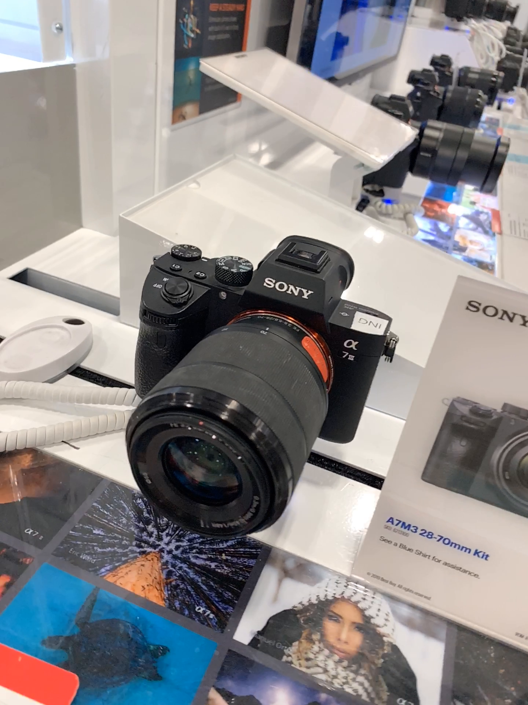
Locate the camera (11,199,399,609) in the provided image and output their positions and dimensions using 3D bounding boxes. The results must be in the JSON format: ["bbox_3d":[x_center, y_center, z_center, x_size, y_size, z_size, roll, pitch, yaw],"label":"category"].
[{"bbox_3d":[-0.015,0.011,0.260,0.119,0.099,0.141,17,36,10],"label":"camera"}]
